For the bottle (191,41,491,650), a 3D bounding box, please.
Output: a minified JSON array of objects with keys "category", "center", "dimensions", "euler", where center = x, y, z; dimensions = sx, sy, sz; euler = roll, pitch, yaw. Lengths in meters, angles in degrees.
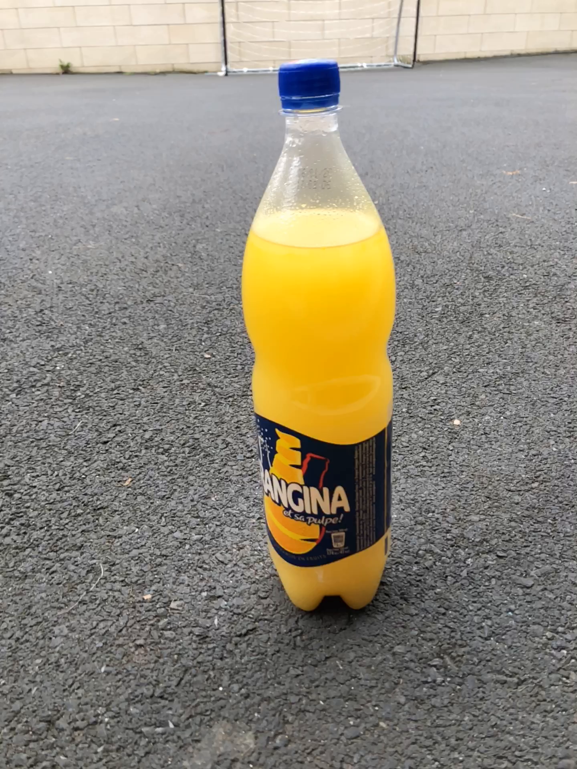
[{"category":"bottle","center":[0.030,-0.011,0.381],"dimensions":[0.100,0.338,0.101],"euler":[-1,31,1]}]
